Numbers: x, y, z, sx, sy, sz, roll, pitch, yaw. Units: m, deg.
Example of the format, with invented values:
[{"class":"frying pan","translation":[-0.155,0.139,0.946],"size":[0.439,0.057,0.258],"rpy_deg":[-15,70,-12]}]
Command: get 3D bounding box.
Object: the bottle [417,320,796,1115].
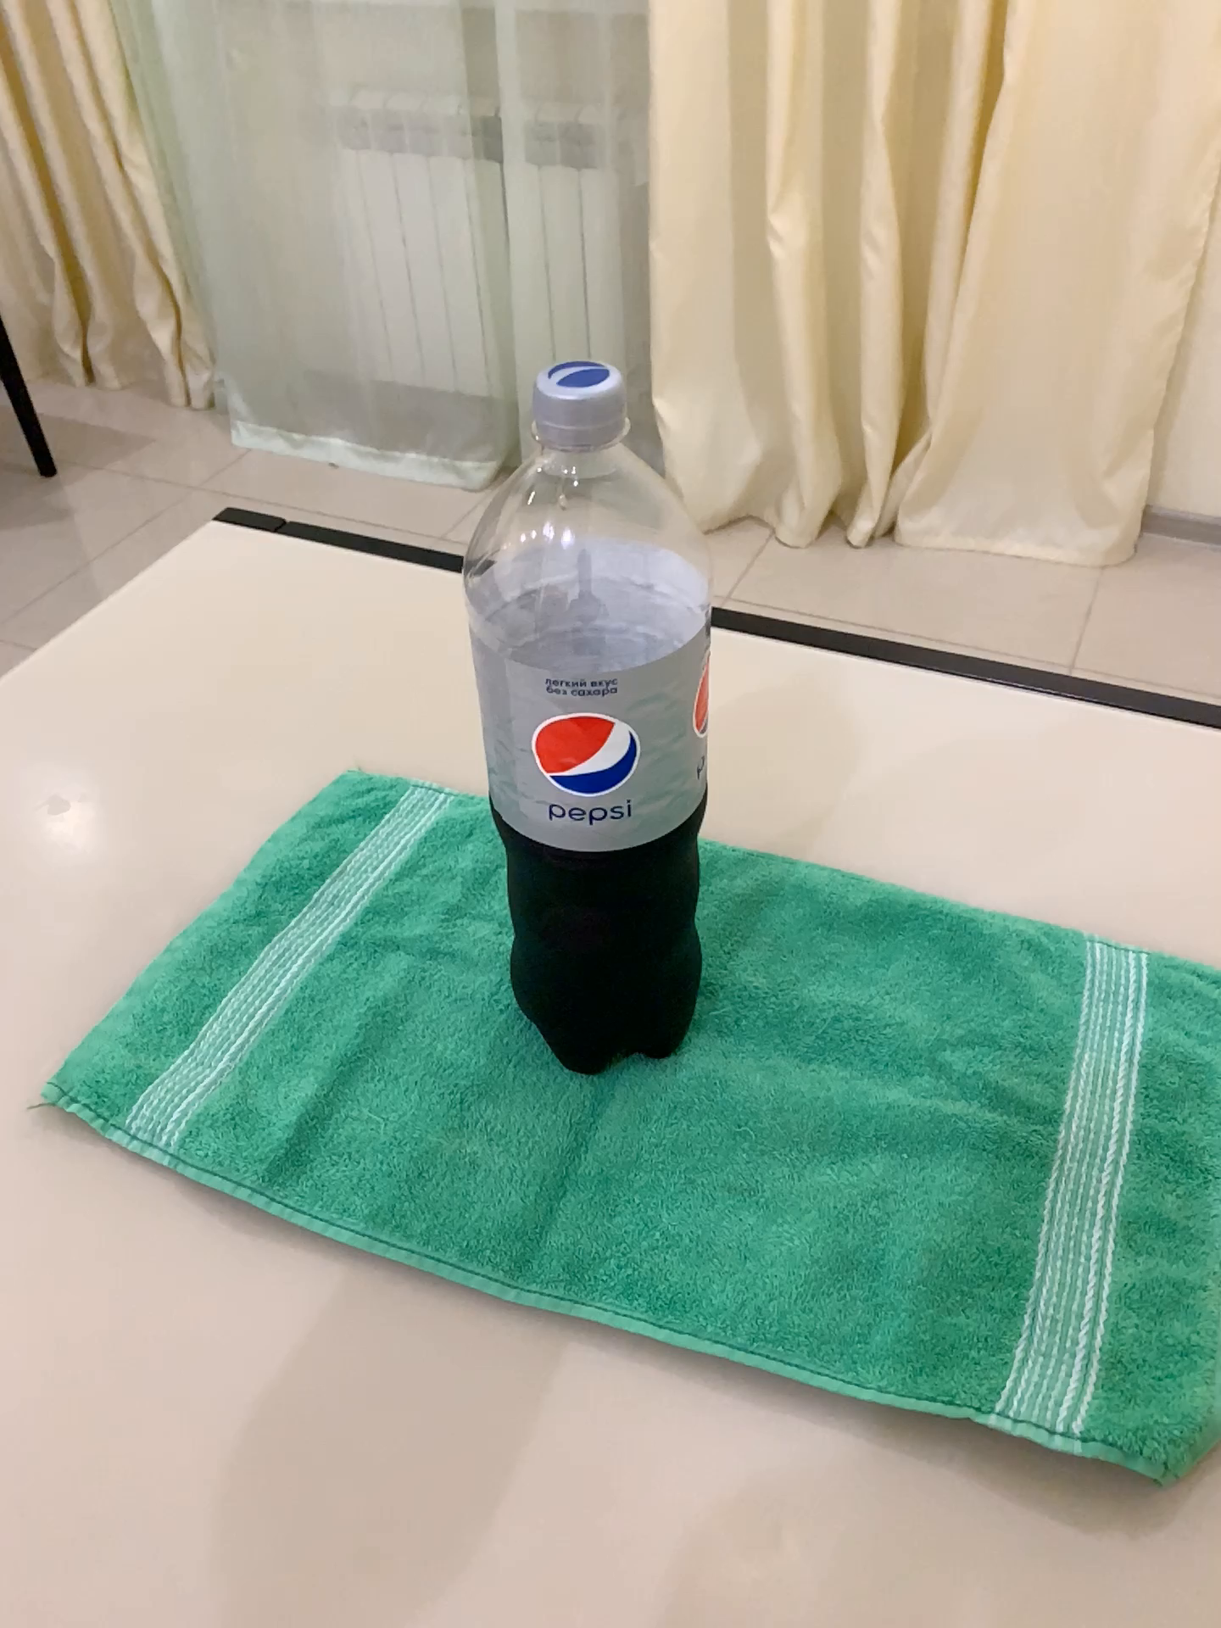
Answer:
[{"class":"bottle","translation":[0.000,-0.021,0.496],"size":[0.100,0.298,0.101],"rpy_deg":[-2,41,2]}]
